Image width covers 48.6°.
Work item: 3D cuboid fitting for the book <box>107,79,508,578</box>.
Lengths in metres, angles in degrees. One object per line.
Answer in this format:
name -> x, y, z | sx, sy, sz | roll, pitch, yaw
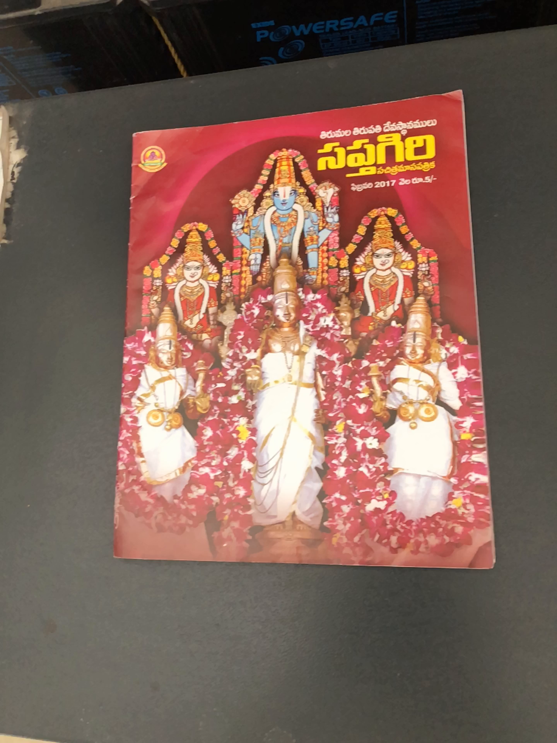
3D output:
book -> 0.010, -0.025, 0.345 | 0.200, 0.030, 0.260 | -3, 77, 13
